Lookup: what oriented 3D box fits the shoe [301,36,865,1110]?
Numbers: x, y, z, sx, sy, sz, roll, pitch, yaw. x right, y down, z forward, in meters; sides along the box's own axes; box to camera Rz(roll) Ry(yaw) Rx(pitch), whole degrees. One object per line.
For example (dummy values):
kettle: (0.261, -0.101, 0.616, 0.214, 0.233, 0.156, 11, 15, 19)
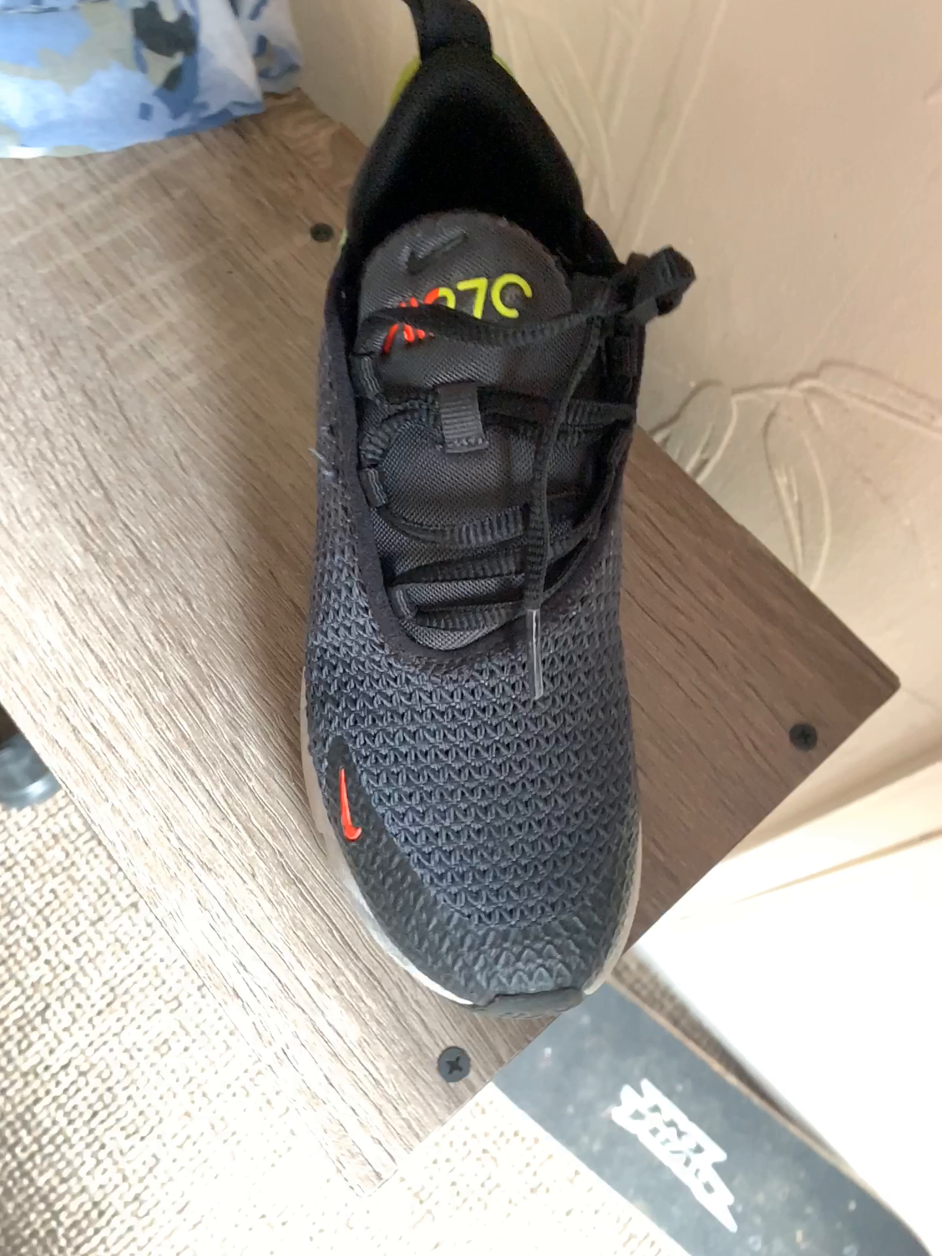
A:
shoe: (0.008, -0.019, 0.260, 0.090, 0.110, 0.248, -3, 69, -7)
